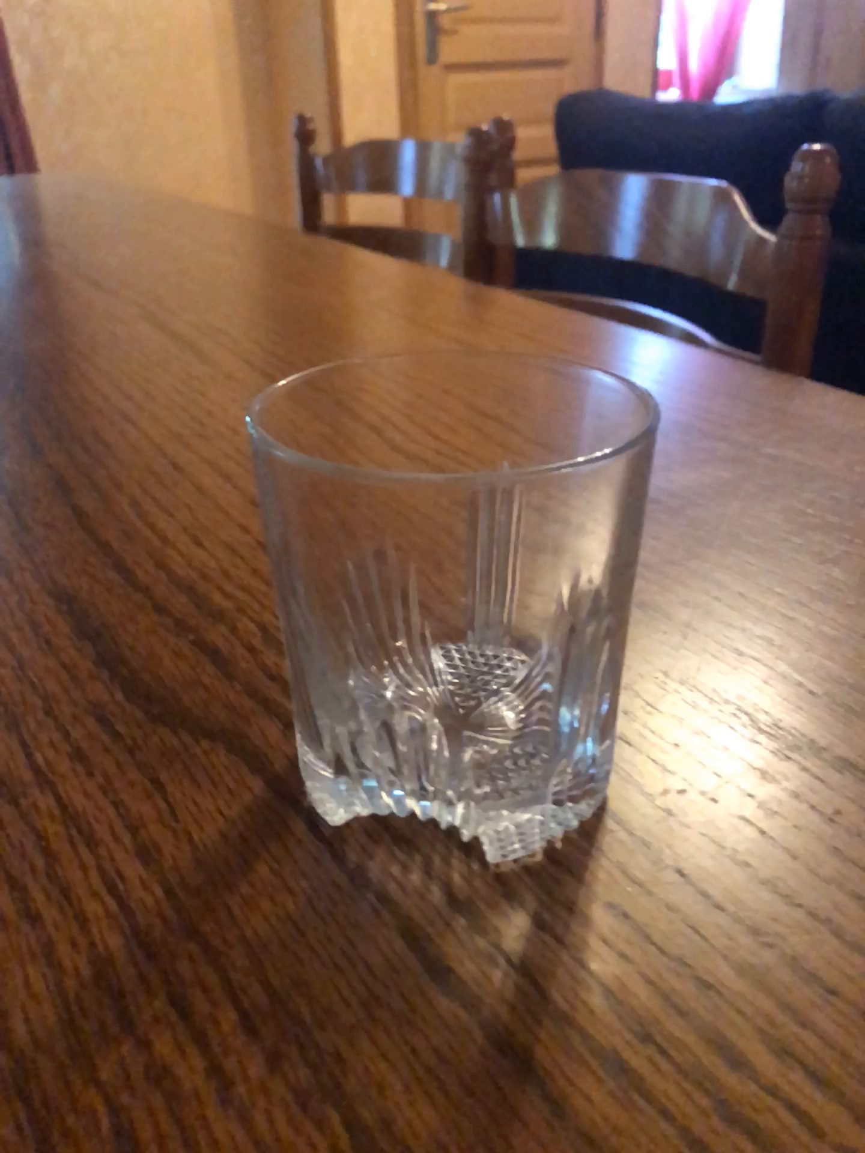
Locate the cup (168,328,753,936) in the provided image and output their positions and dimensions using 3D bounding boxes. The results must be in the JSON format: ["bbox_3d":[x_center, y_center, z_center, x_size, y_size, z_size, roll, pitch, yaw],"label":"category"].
[{"bbox_3d":[0.005,0.002,0.209,0.080,0.084,0.084,-1,27,1],"label":"cup"}]
